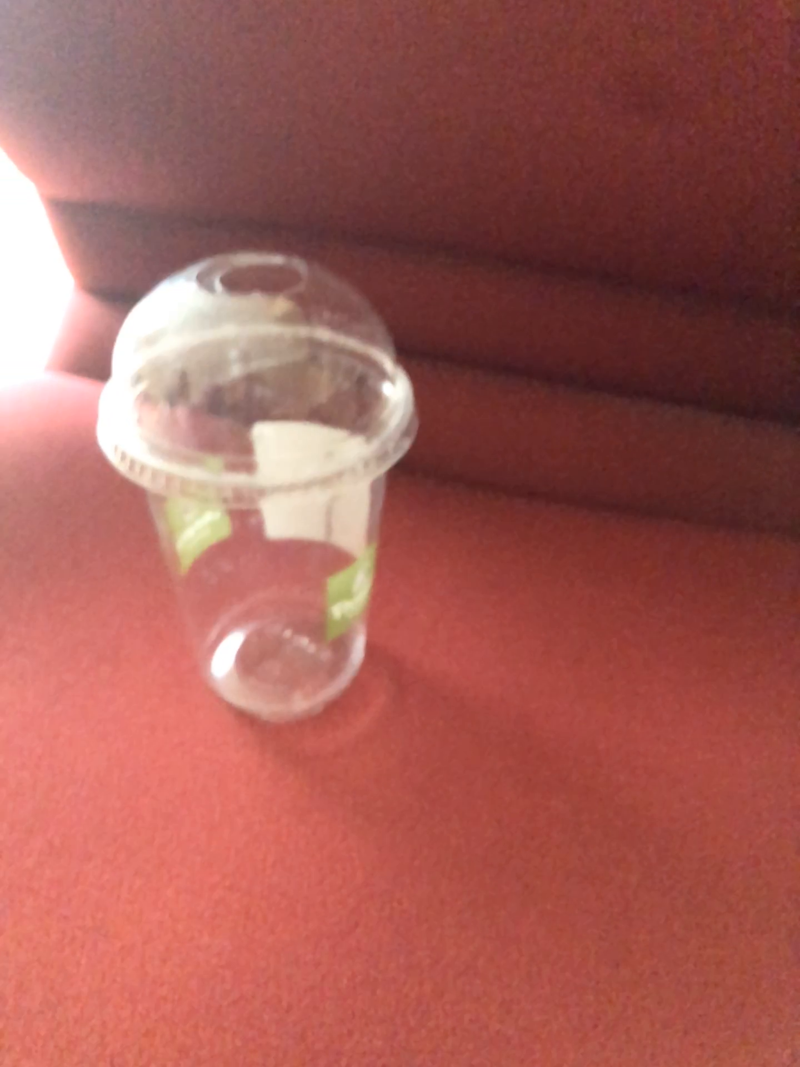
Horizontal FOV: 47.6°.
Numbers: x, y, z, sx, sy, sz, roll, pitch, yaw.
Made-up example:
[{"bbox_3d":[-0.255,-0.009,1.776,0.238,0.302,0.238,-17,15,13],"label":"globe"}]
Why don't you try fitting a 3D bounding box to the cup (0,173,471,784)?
[{"bbox_3d":[-0.044,-0.018,0.287,0.100,0.150,0.090,15,40,17],"label":"cup"}]
